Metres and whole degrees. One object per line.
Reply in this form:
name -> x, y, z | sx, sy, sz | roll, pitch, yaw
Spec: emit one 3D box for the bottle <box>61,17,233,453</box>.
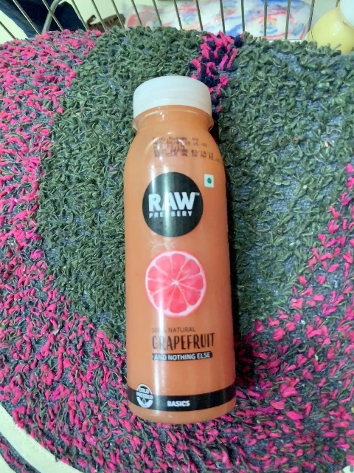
bottle -> -0.007, -0.003, 0.167 | 0.060, 0.060, 0.160 | -1, 81, 9
